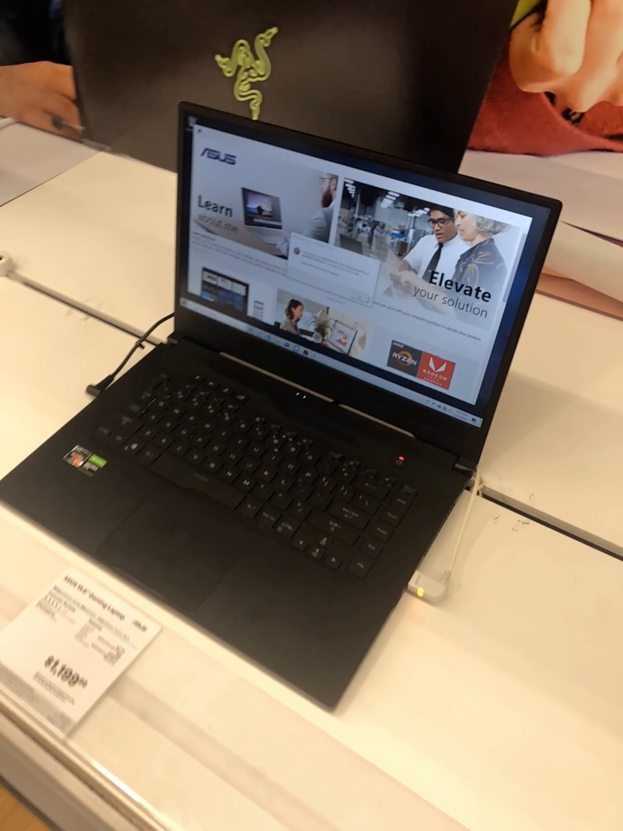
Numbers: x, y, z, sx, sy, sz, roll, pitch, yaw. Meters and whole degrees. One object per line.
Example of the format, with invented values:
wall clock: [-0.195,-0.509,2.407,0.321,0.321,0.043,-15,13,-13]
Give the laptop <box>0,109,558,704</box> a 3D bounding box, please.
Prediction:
laptop: [-0.055,-0.041,0.540,0.351,0.222,0.311,24,51,23]
